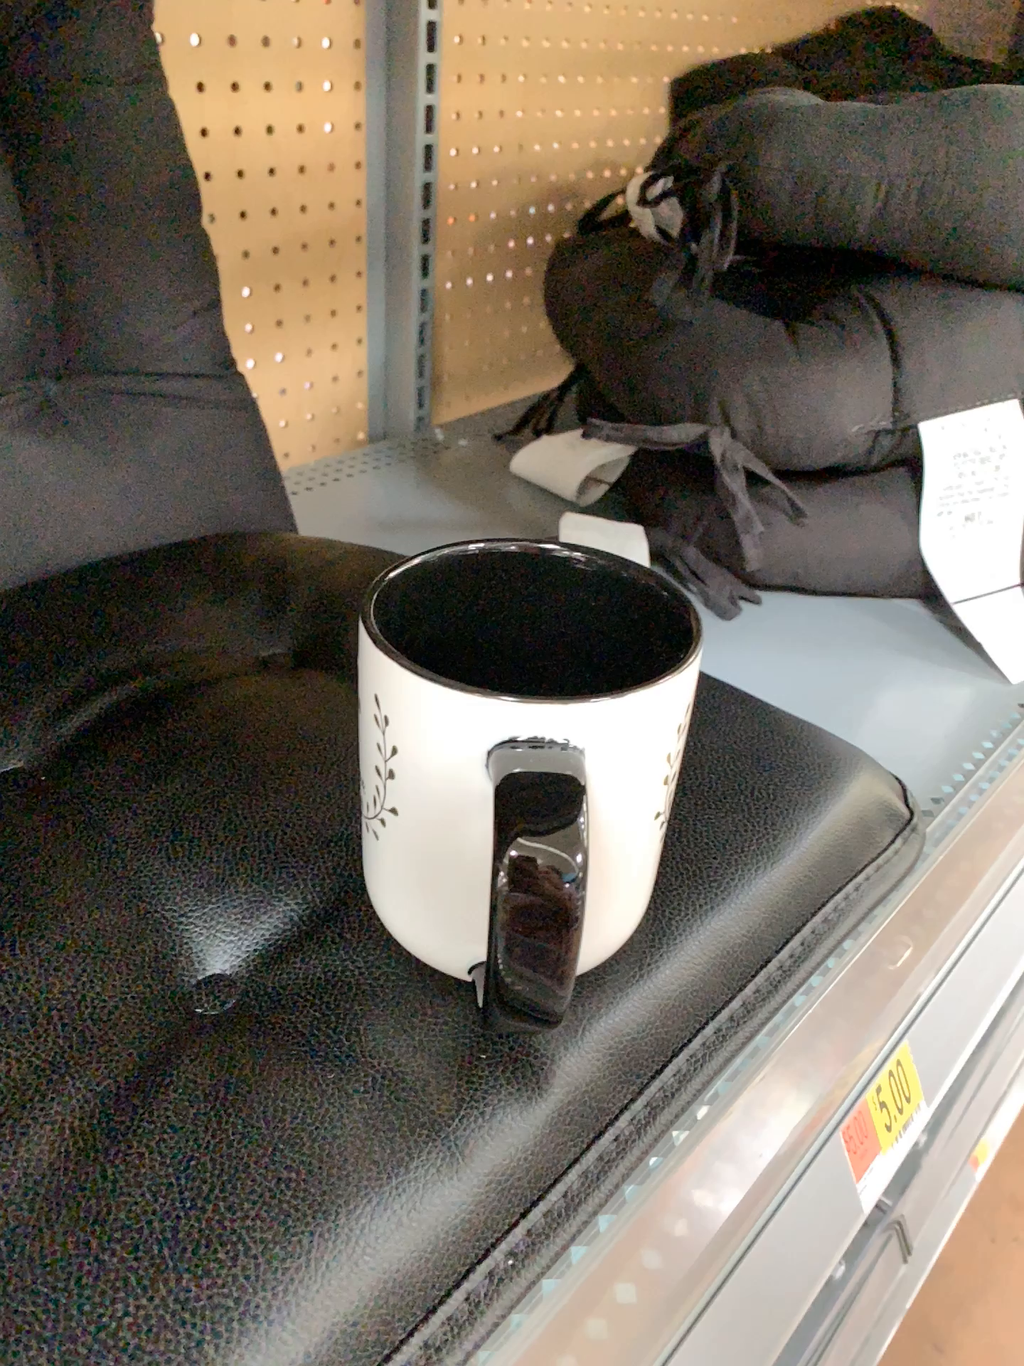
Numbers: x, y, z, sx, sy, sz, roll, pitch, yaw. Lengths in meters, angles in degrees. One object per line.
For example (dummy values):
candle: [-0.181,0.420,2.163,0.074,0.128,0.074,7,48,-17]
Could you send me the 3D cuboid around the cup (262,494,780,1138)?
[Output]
cup: [0.005,0.027,0.294,0.101,0.104,0.142,3,33,2]
